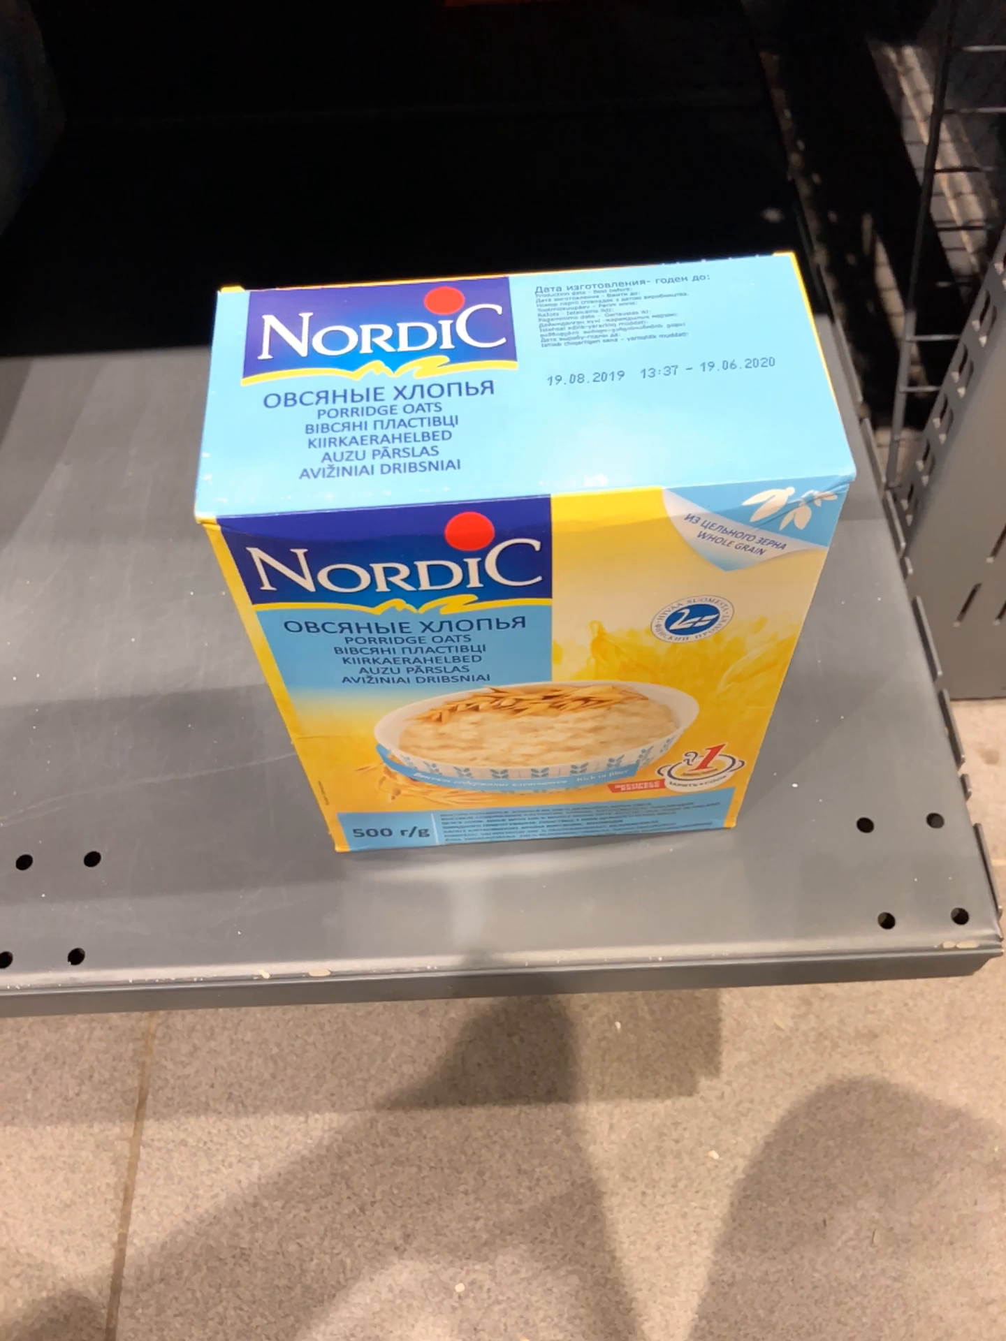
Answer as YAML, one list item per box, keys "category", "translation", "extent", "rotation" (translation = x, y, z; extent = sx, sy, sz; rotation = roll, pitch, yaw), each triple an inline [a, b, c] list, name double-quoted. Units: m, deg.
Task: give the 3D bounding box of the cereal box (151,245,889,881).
- category: "cereal box"
  translation: [0.004, -0.016, 0.324]
  extent: [0.150, 0.179, 0.081]
  rotation: [-4, 57, -1]
